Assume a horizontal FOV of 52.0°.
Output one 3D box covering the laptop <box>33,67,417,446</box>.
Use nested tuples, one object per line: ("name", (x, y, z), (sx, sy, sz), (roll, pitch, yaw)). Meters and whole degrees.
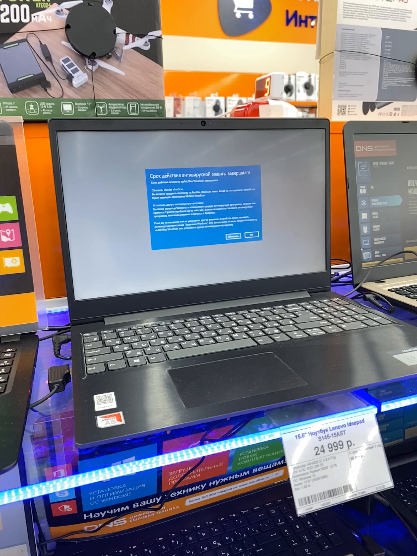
("laptop", (0.036, -0.052, 0.444), (0.361, 0.240, 0.273), (-6, 14, -16))
